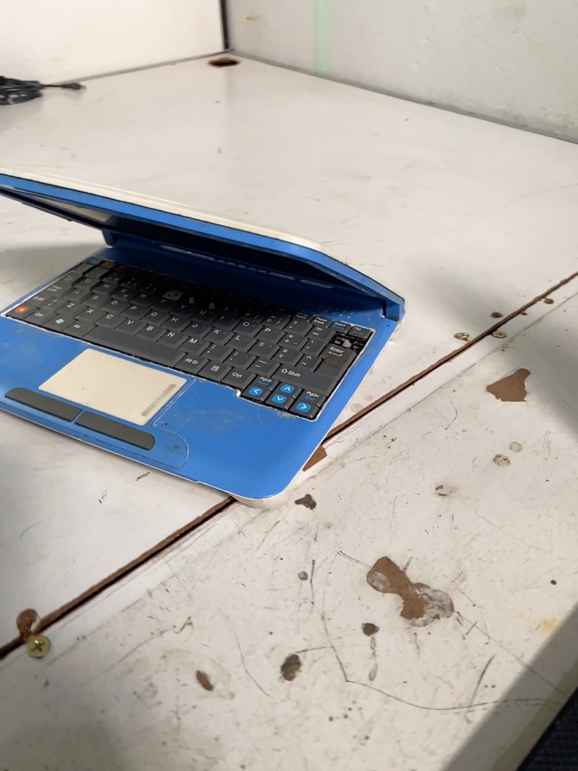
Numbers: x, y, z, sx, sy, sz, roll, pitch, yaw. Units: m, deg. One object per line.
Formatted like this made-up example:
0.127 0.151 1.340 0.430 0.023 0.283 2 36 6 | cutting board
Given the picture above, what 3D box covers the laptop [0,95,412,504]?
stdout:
-0.079 -0.076 0.354 0.247 0.116 0.182 17 43 22 | laptop
